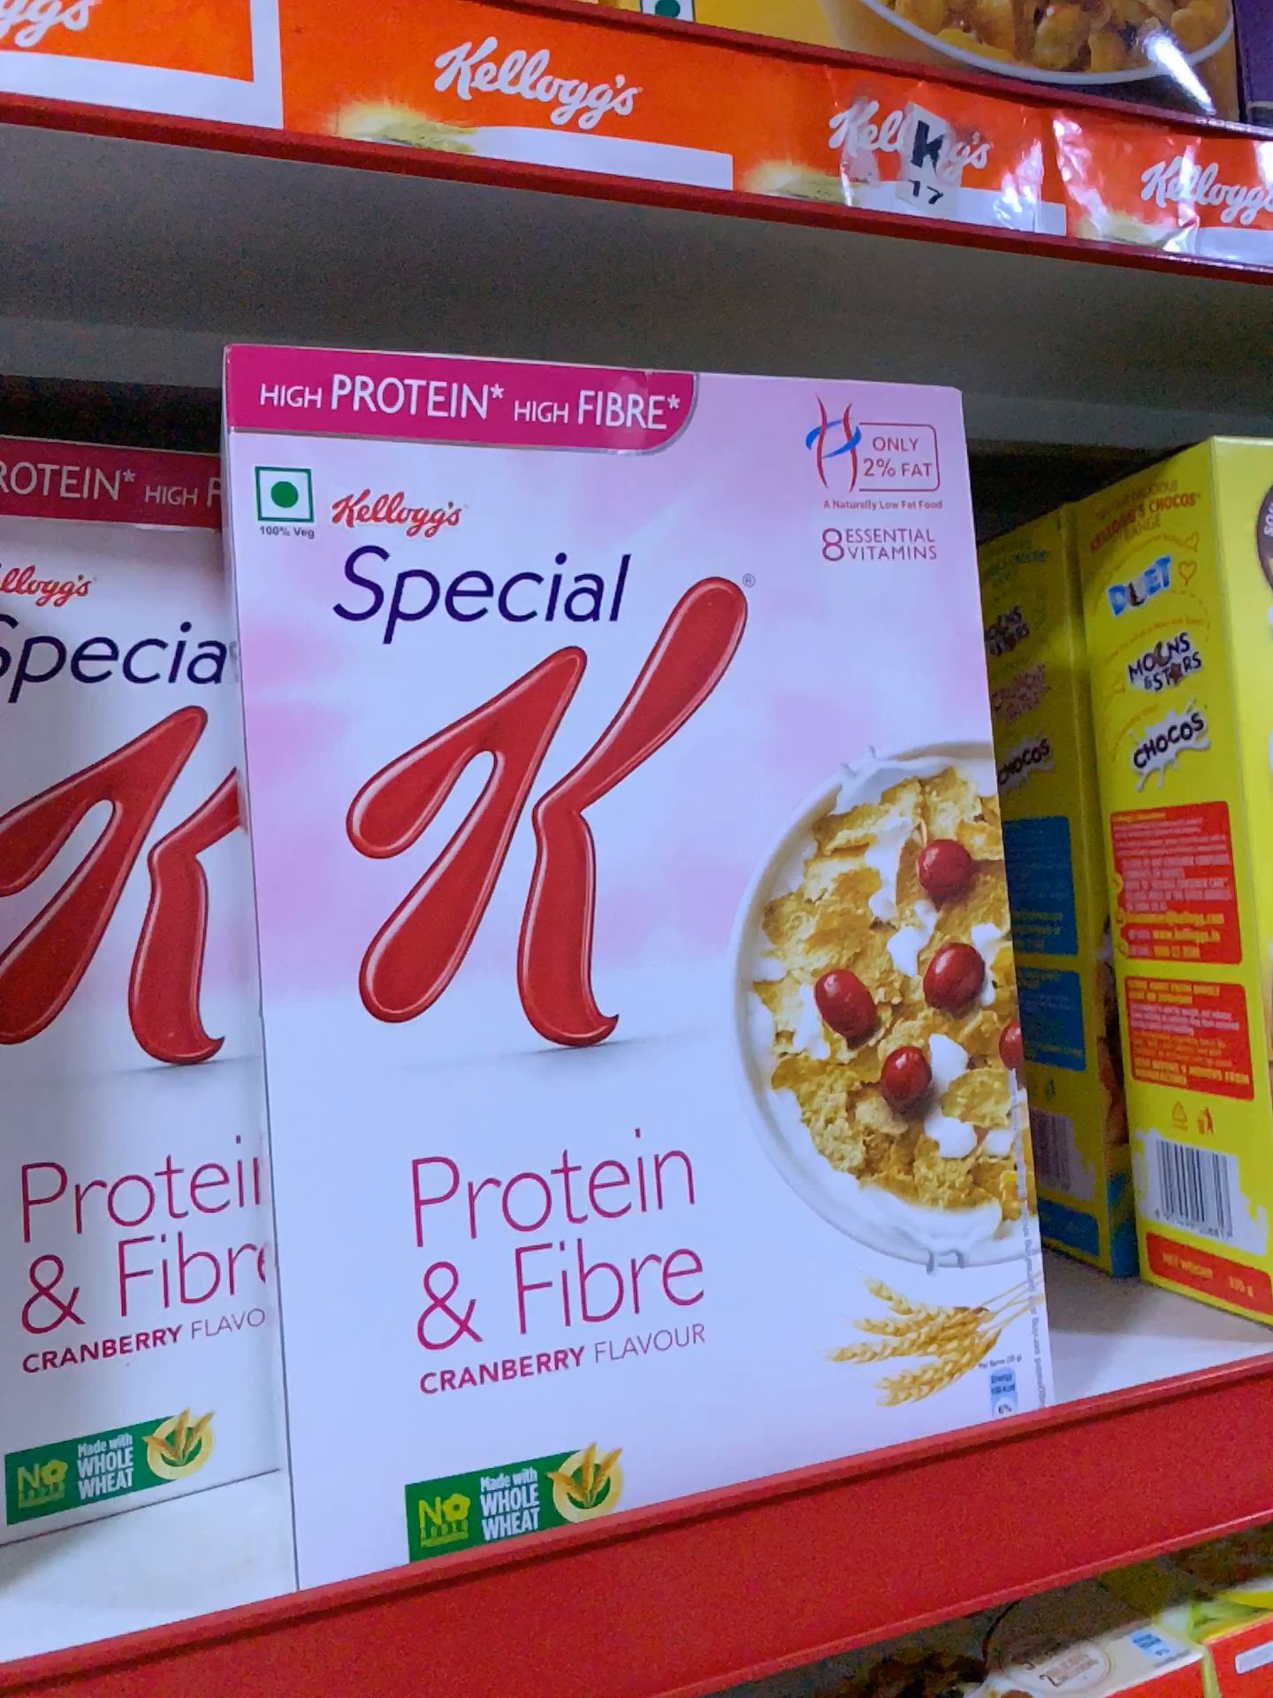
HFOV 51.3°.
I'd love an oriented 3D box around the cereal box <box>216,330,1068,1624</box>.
[{"bbox_3d":[0.000,0.018,0.304,0.170,0.240,0.060,-3,-2,-20],"label":"cereal box"}]
